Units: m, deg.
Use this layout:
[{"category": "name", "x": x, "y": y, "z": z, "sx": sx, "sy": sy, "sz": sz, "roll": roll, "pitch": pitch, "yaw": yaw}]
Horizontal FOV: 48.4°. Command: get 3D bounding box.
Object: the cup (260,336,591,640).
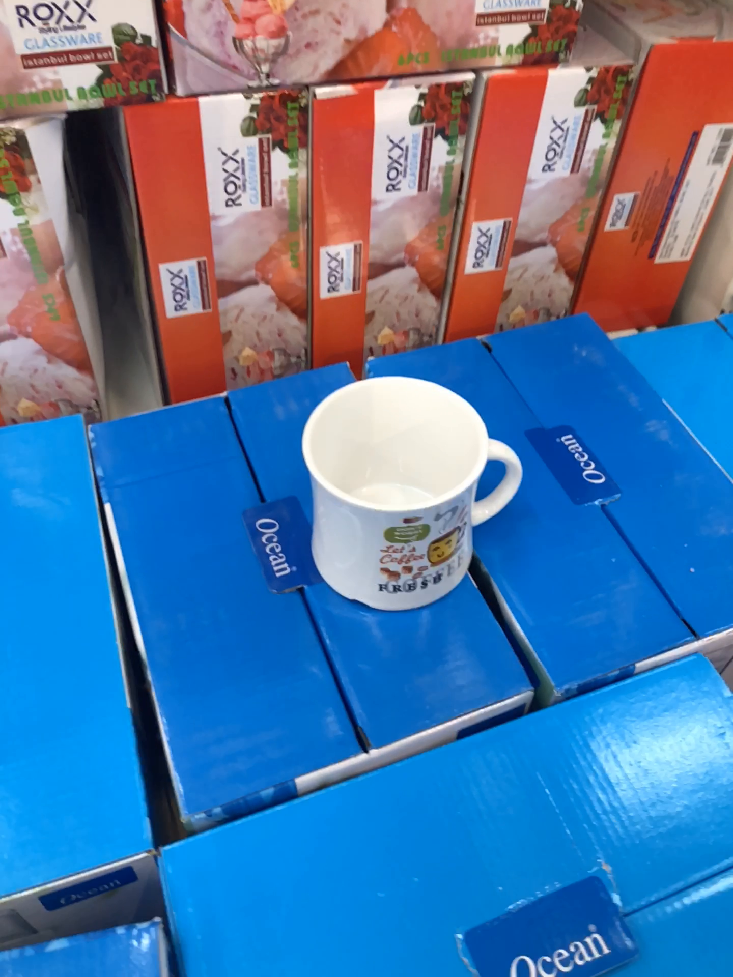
[{"category": "cup", "x": 0.018, "y": -0.002, "z": 0.319, "sx": 0.100, "sy": 0.070, "sz": 0.070, "roll": -14, "pitch": 51, "yaw": -16}]
